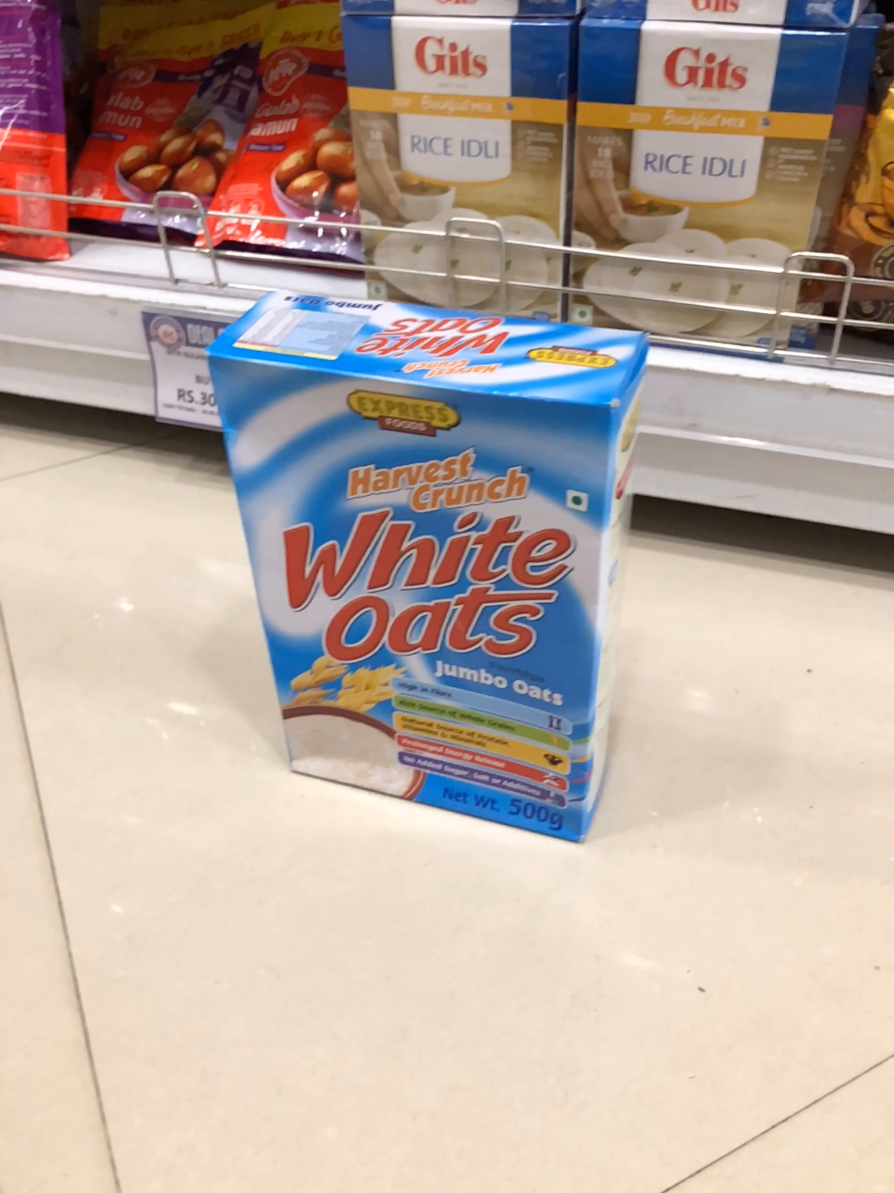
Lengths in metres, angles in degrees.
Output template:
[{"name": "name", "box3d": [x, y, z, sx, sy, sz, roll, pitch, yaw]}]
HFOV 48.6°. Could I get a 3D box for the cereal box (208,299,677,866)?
[{"name": "cereal box", "box3d": [0.003, 0.002, 0.410, 0.150, 0.219, 0.060, 11, 42, 17]}]
